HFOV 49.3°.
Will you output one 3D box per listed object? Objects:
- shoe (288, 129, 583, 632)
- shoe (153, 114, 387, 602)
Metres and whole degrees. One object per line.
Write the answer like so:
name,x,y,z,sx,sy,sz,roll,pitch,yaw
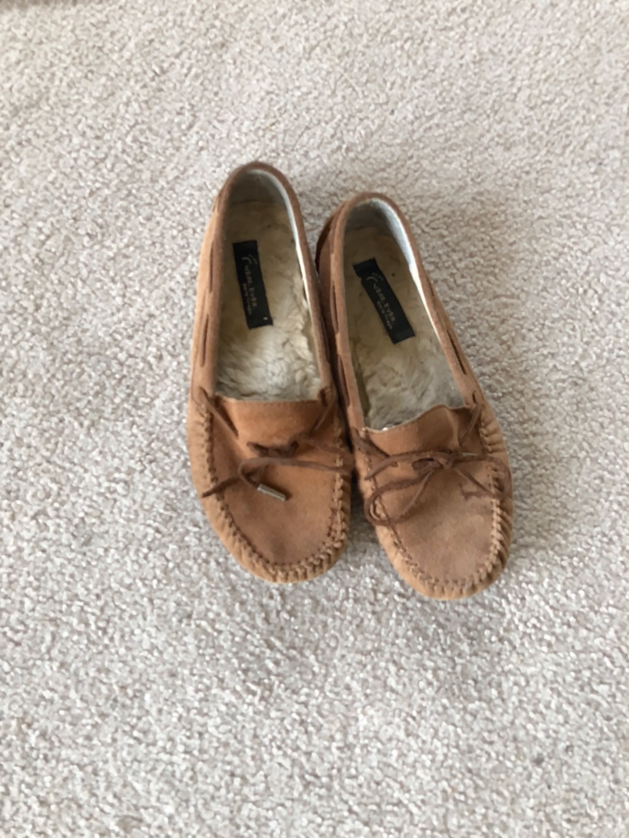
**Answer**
shoe,0.061,-0.026,0.412,0.098,0.068,0.274,-11,79,-7
shoe,-0.031,-0.038,0.406,0.105,0.068,0.270,-4,79,-6
